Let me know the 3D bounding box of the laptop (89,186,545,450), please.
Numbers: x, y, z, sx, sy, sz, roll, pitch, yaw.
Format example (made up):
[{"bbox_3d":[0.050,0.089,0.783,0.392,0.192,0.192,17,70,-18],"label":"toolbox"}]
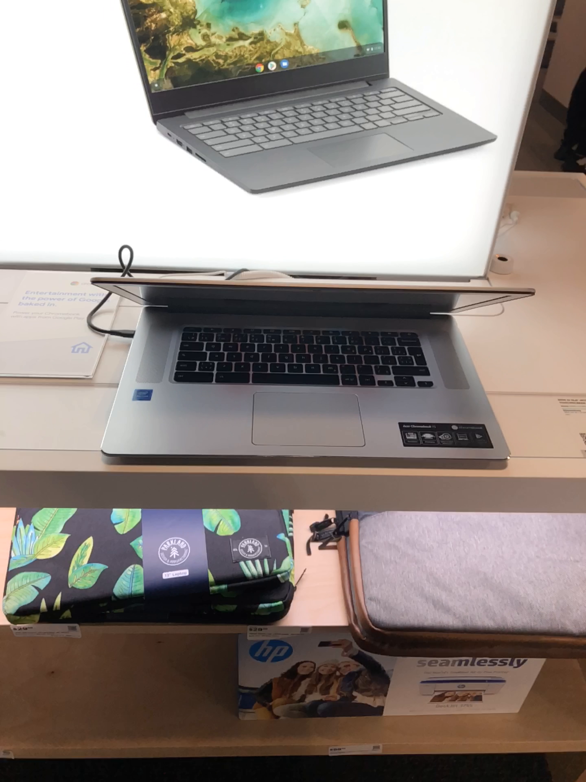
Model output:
[{"bbox_3d":[0.017,-0.078,0.645,0.364,0.146,0.232,1,39,-6],"label":"laptop"}]
